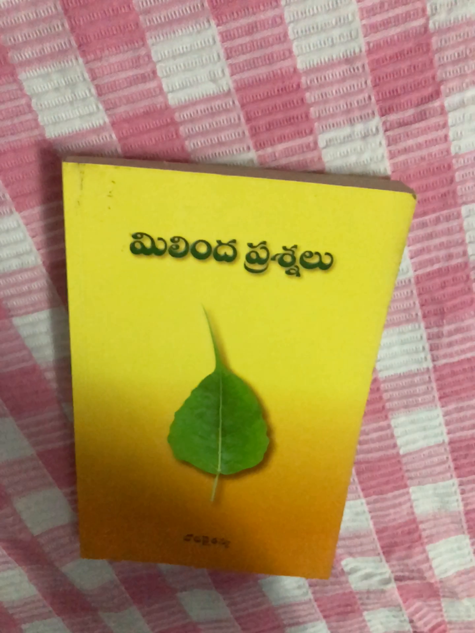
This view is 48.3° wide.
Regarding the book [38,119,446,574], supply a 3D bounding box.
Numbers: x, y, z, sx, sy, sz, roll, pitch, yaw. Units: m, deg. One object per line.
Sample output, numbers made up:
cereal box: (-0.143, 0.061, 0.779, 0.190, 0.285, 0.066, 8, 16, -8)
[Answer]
book: (-0.006, 0.032, 0.248, 0.150, 0.020, 0.221, 4, 115, -3)
